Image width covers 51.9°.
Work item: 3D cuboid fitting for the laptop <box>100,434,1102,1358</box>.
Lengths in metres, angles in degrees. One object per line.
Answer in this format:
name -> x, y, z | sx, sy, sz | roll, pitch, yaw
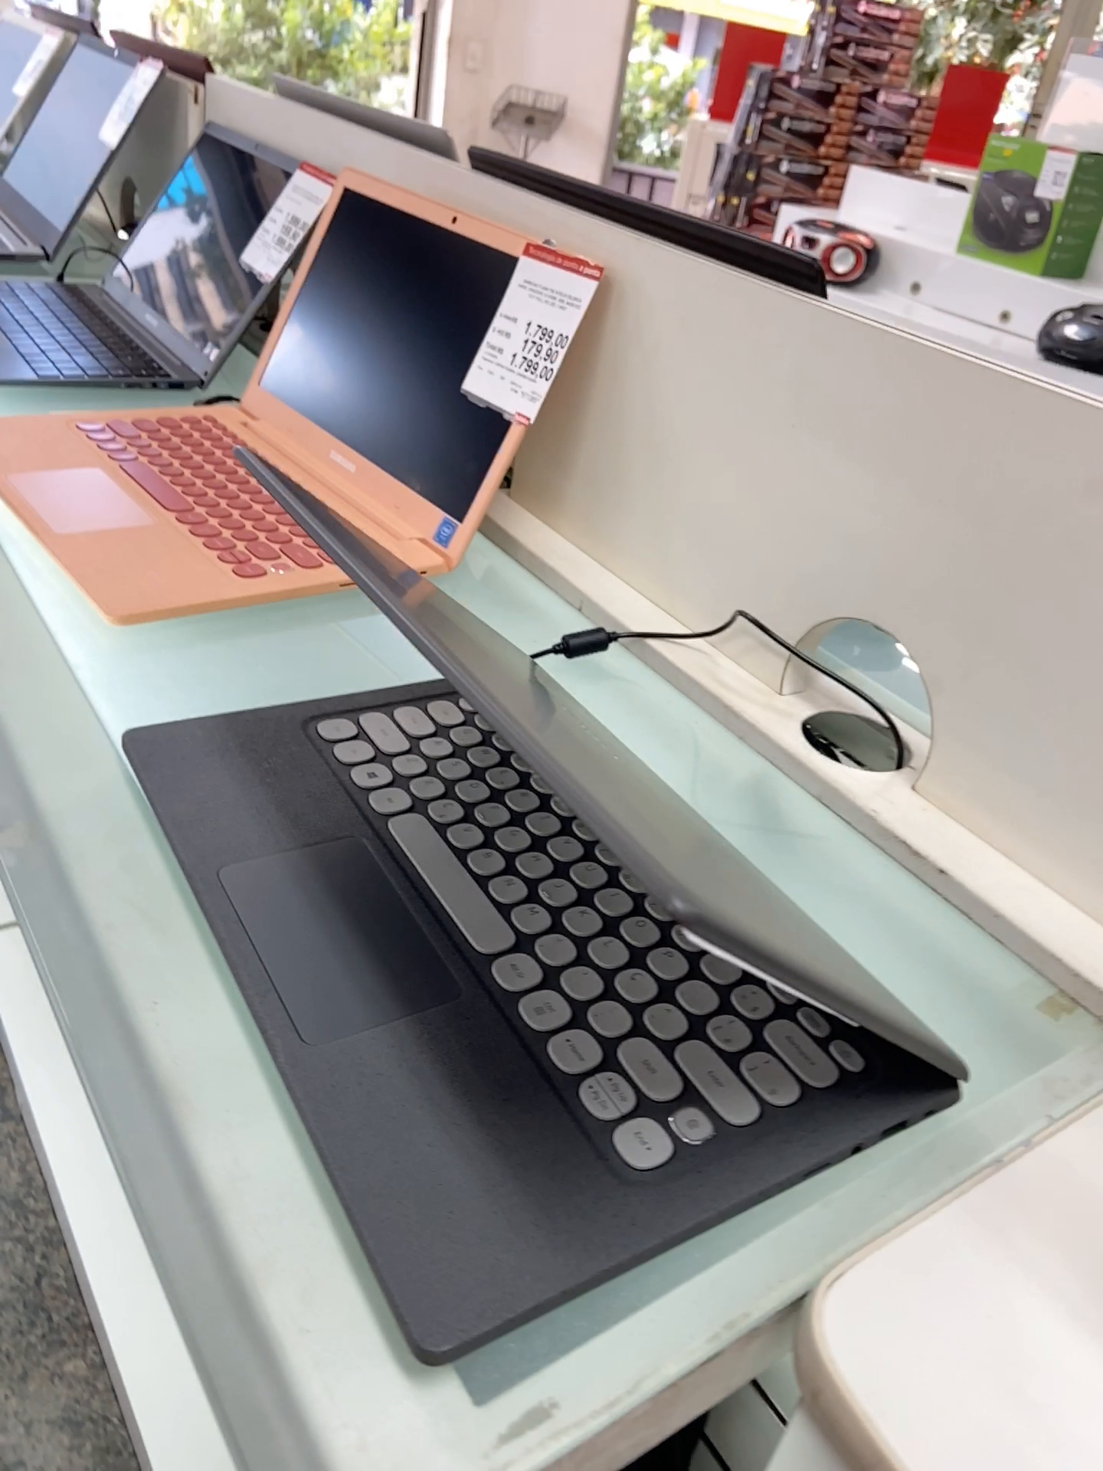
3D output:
laptop -> -0.017, 0.007, 0.425 | 0.212, 0.132, 0.317 | -11, 37, -30
